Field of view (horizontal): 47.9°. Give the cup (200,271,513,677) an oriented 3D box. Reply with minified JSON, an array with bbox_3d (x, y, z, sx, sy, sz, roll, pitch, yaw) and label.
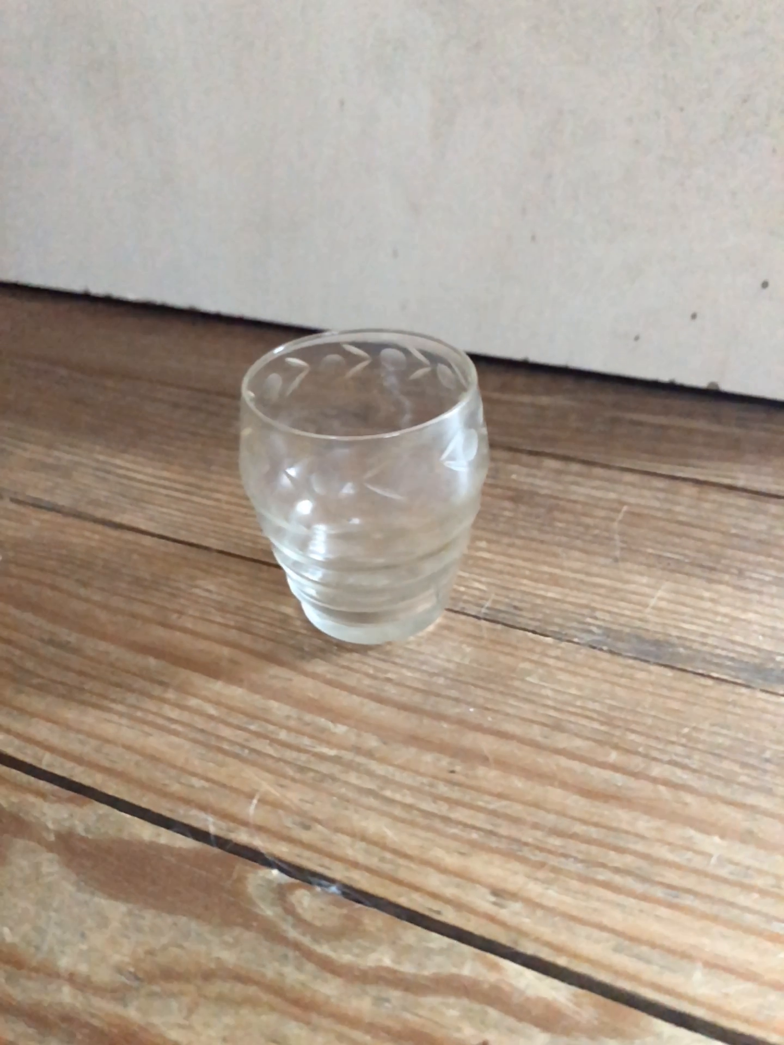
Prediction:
[{"bbox_3d":[-0.008,-0.011,0.183,0.050,0.060,0.050,-1,37,1],"label":"cup"}]
